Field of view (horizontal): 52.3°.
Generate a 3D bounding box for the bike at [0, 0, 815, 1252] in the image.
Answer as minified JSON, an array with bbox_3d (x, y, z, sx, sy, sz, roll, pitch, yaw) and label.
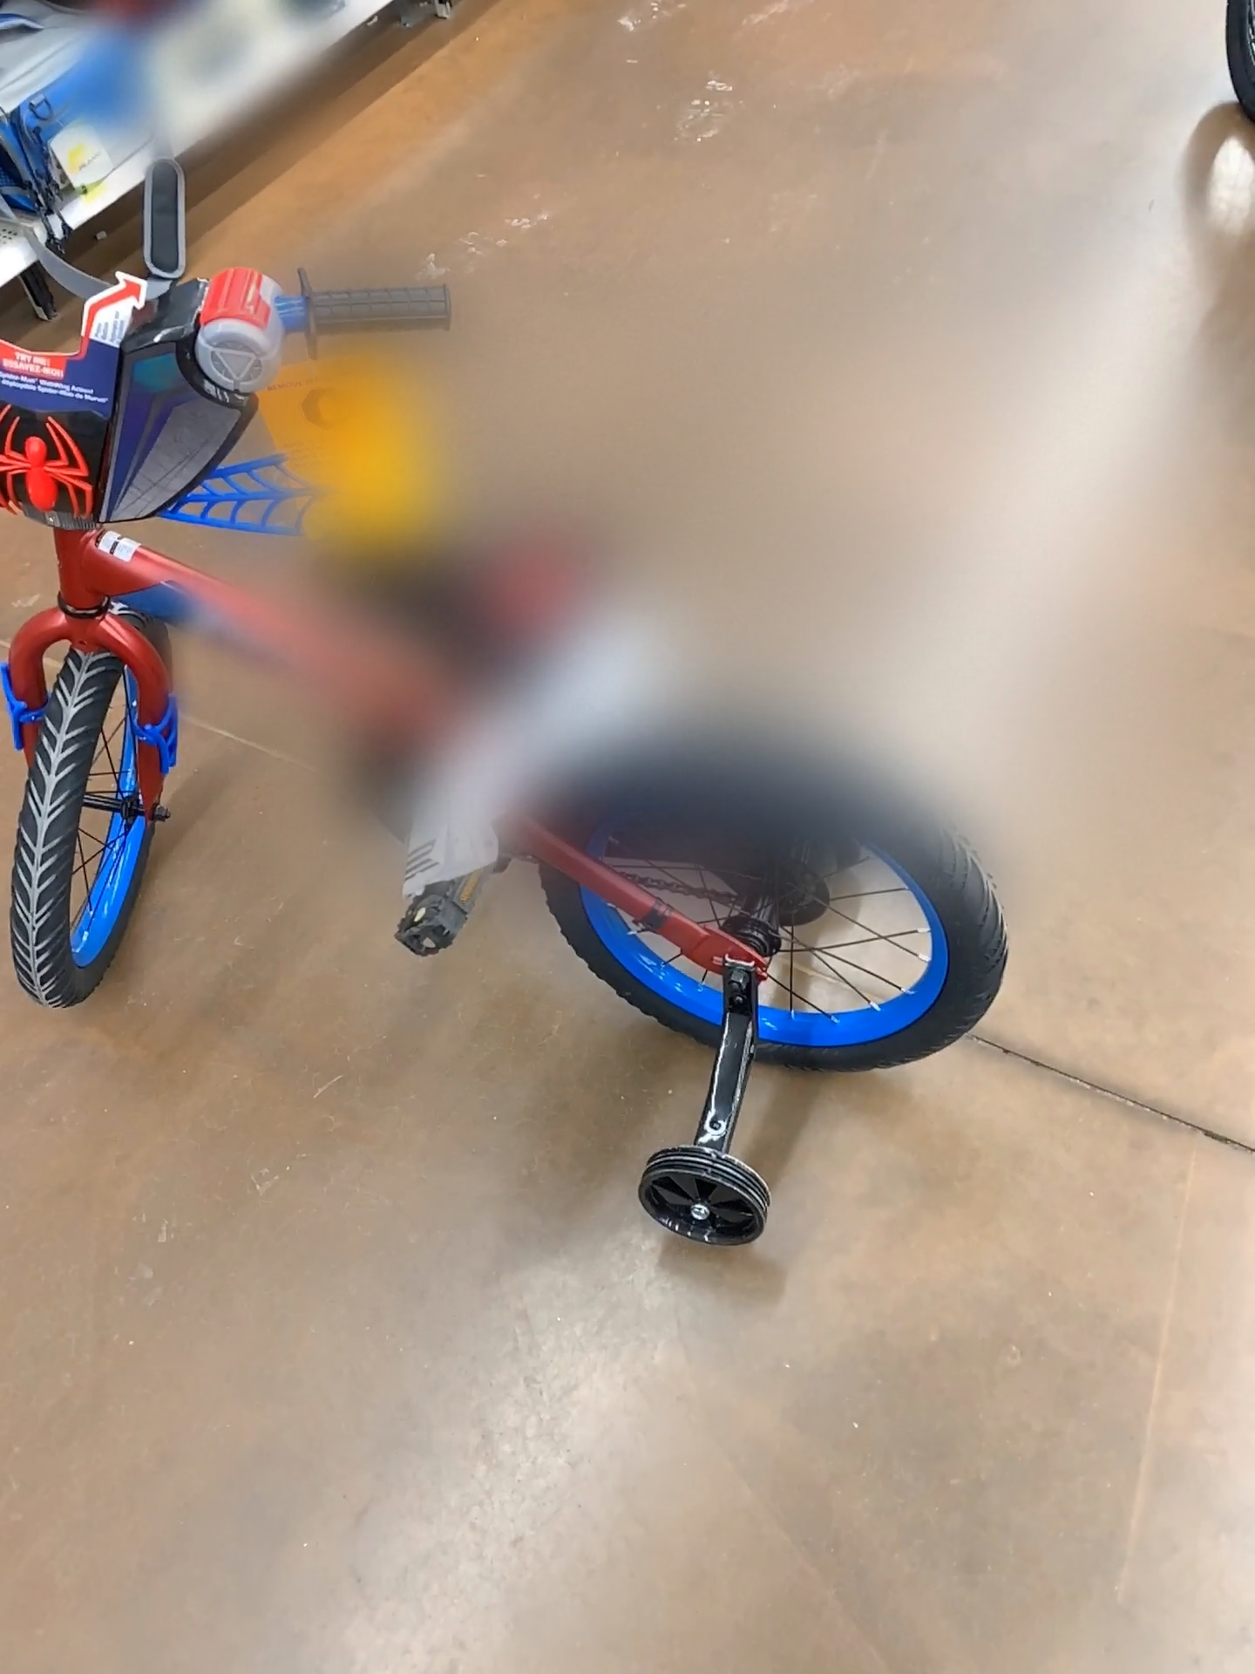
[{"bbox_3d":[-0.215,-0.098,0.816,0.565,0.709,0.477,2,52,11],"label":"bike"}]
